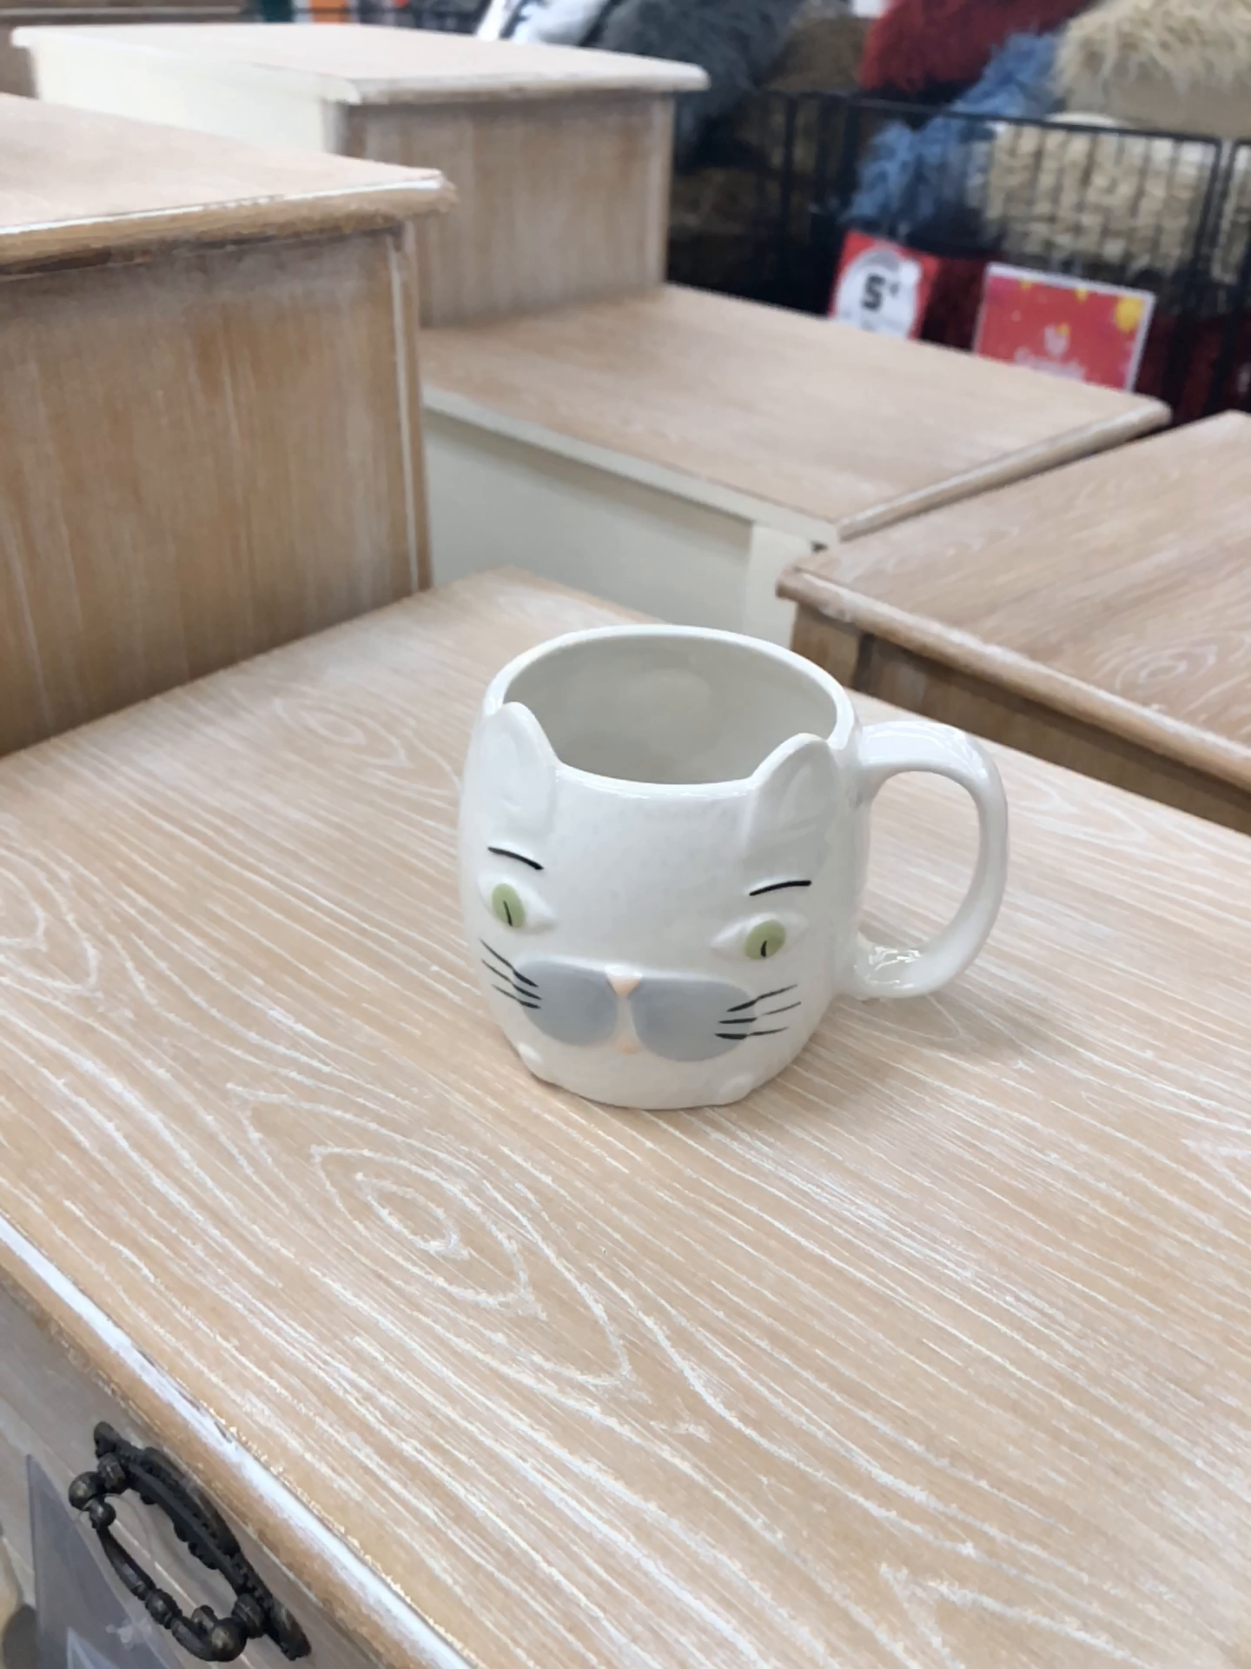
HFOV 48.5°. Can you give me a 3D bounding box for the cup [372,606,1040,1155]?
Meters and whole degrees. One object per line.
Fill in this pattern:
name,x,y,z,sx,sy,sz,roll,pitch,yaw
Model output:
cup,0.018,0.007,0.316,0.124,0.073,0.092,5,37,4
